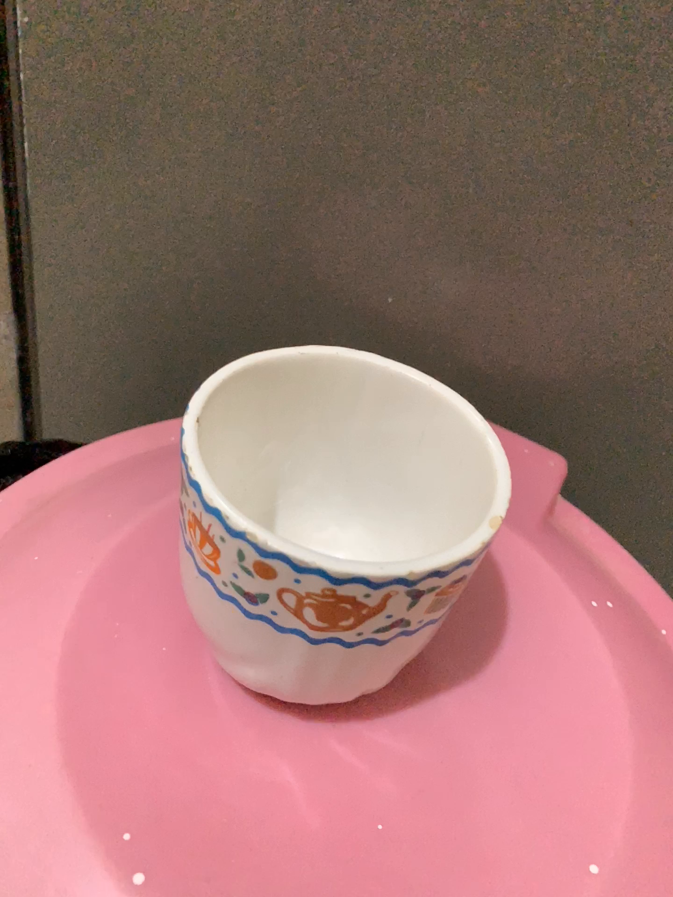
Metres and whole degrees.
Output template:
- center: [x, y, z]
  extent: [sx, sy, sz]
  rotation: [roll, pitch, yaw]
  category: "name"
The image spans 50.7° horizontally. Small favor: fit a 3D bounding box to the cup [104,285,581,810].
- center: [0.002, 0.017, 0.160]
  extent: [0.076, 0.062, 0.072]
  rotation: [9, 38, -7]
  category: "cup"
